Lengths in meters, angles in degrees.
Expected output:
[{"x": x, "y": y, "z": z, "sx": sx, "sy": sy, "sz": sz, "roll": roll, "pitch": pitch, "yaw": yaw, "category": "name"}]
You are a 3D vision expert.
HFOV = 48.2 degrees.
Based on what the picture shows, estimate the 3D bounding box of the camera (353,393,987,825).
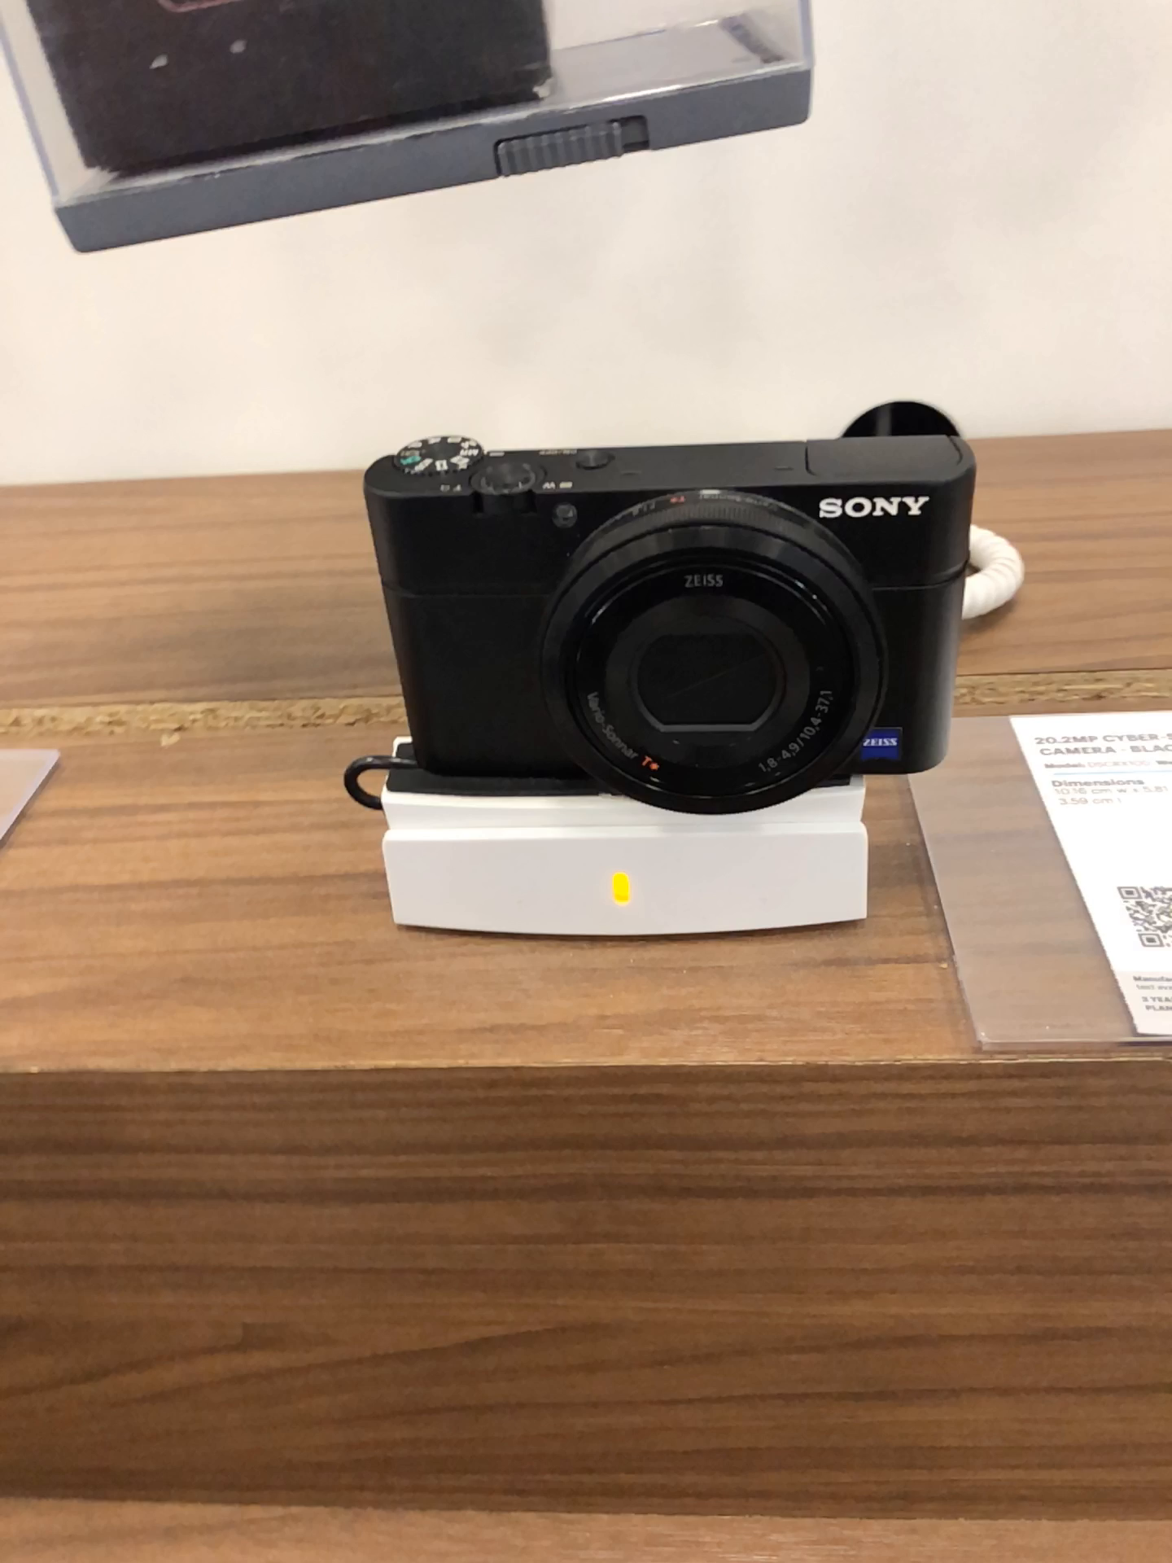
[{"x": 0.016, "y": -0.029, "z": 0.239, "sx": 0.100, "sy": 0.070, "sz": 0.030, "roll": -1, "pitch": 37, "yaw": 7, "category": "camera"}]
